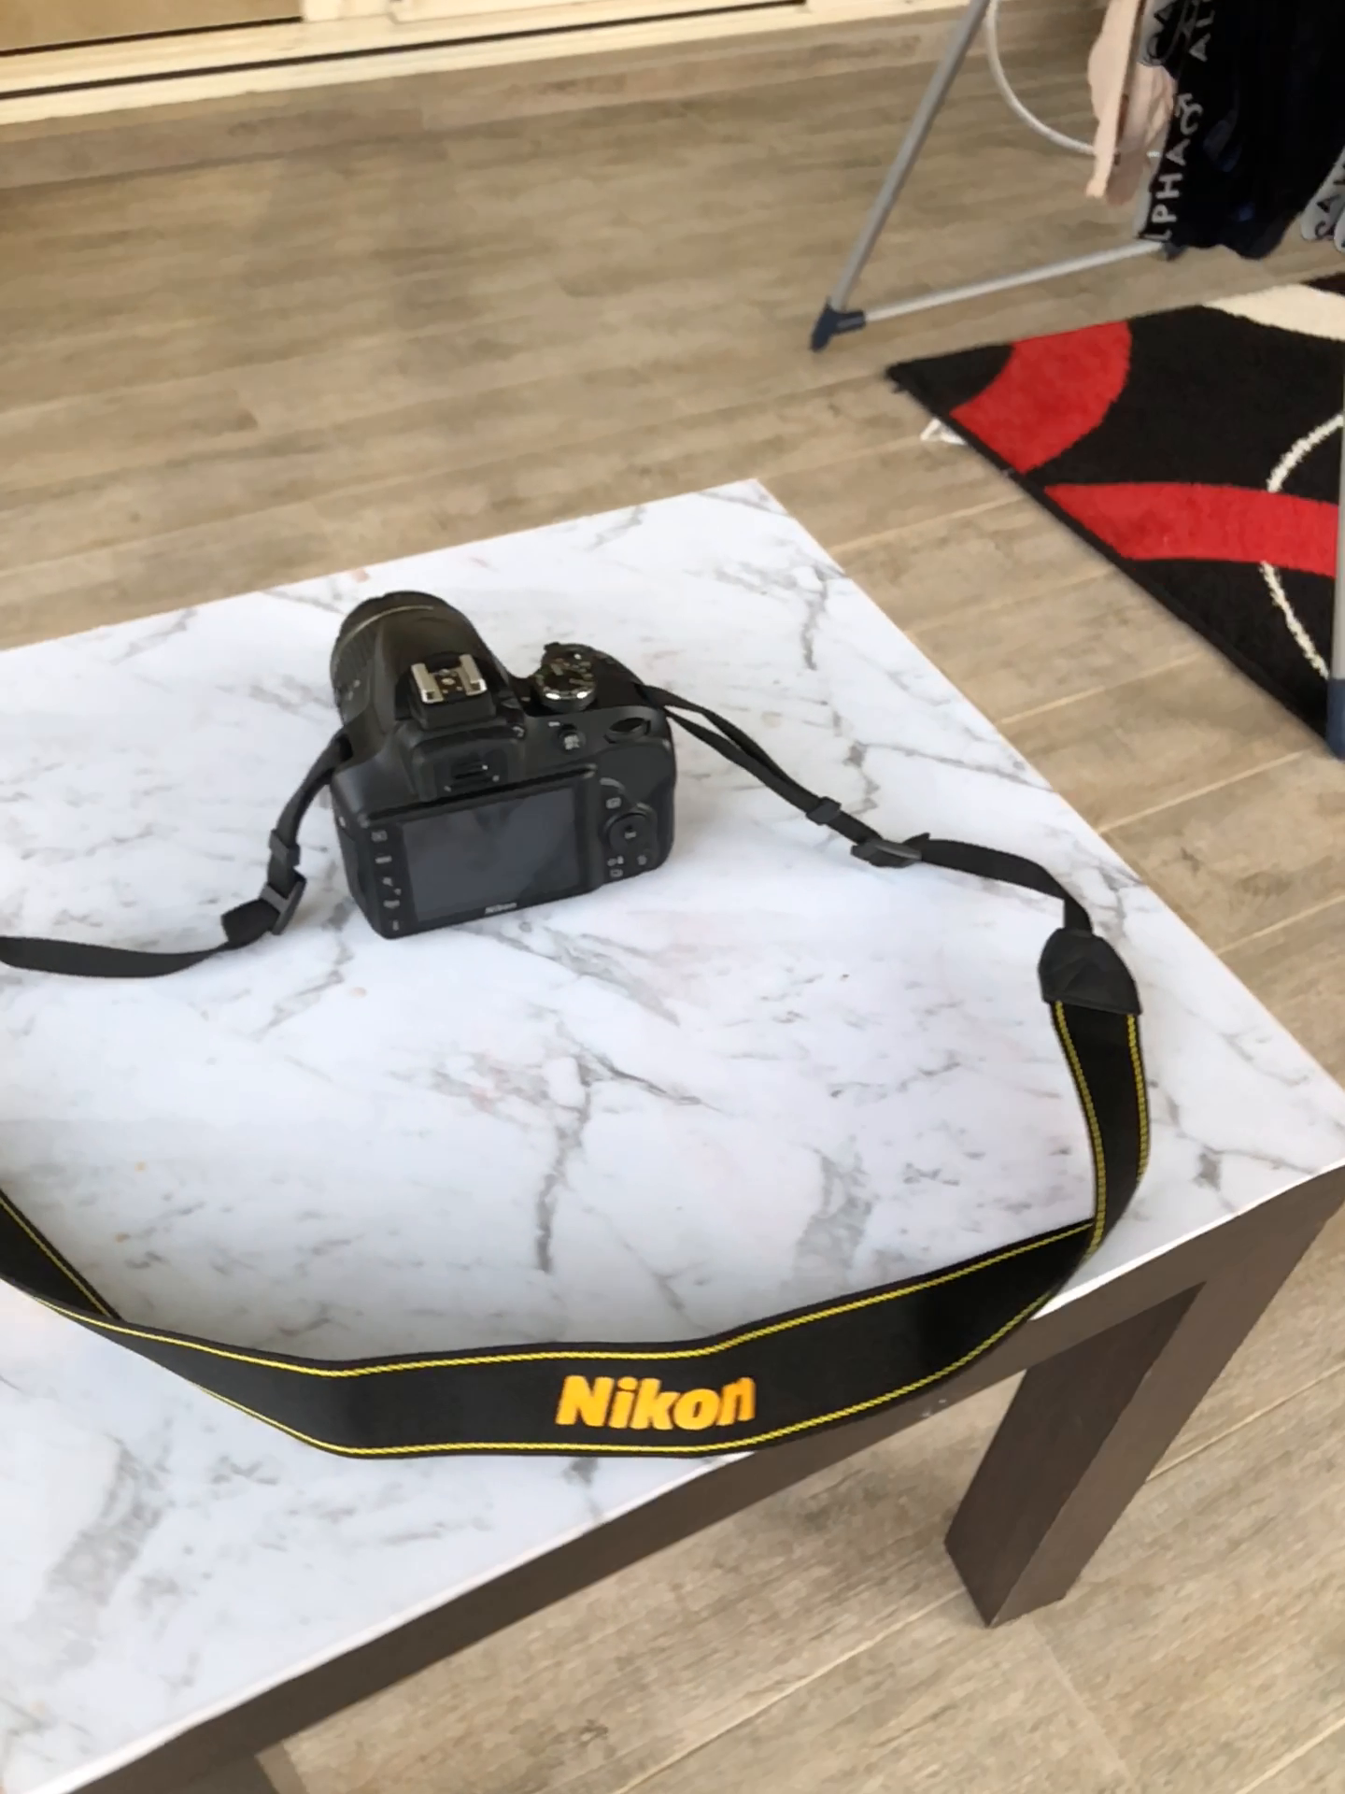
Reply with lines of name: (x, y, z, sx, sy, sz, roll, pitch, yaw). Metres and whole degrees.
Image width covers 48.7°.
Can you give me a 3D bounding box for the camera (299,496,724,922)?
camera: (-0.064, -0.077, 0.568, 0.121, 0.076, 0.138, -13, 46, -16)
